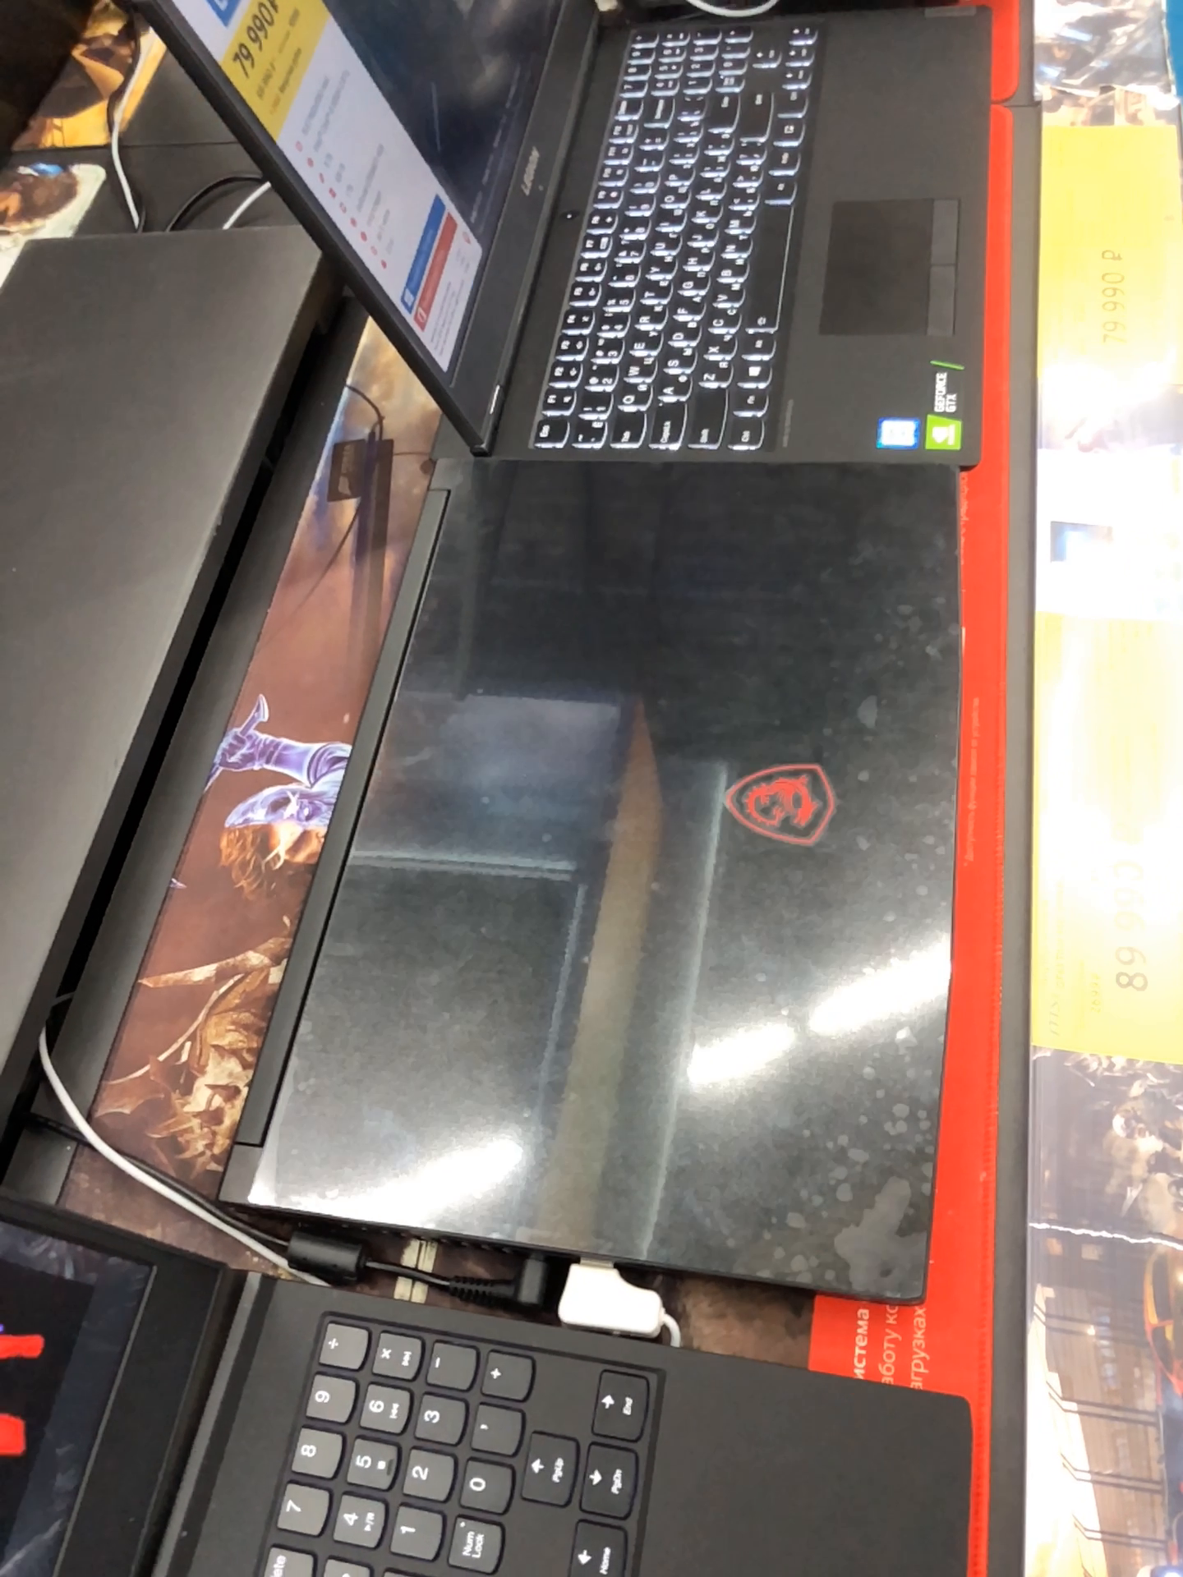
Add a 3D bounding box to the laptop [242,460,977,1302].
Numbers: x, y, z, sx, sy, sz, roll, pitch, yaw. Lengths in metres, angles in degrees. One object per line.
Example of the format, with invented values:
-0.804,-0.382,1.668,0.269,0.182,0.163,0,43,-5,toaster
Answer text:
0.024,0.002,0.517,0.238,0.002,0.354,4,61,13,laptop
